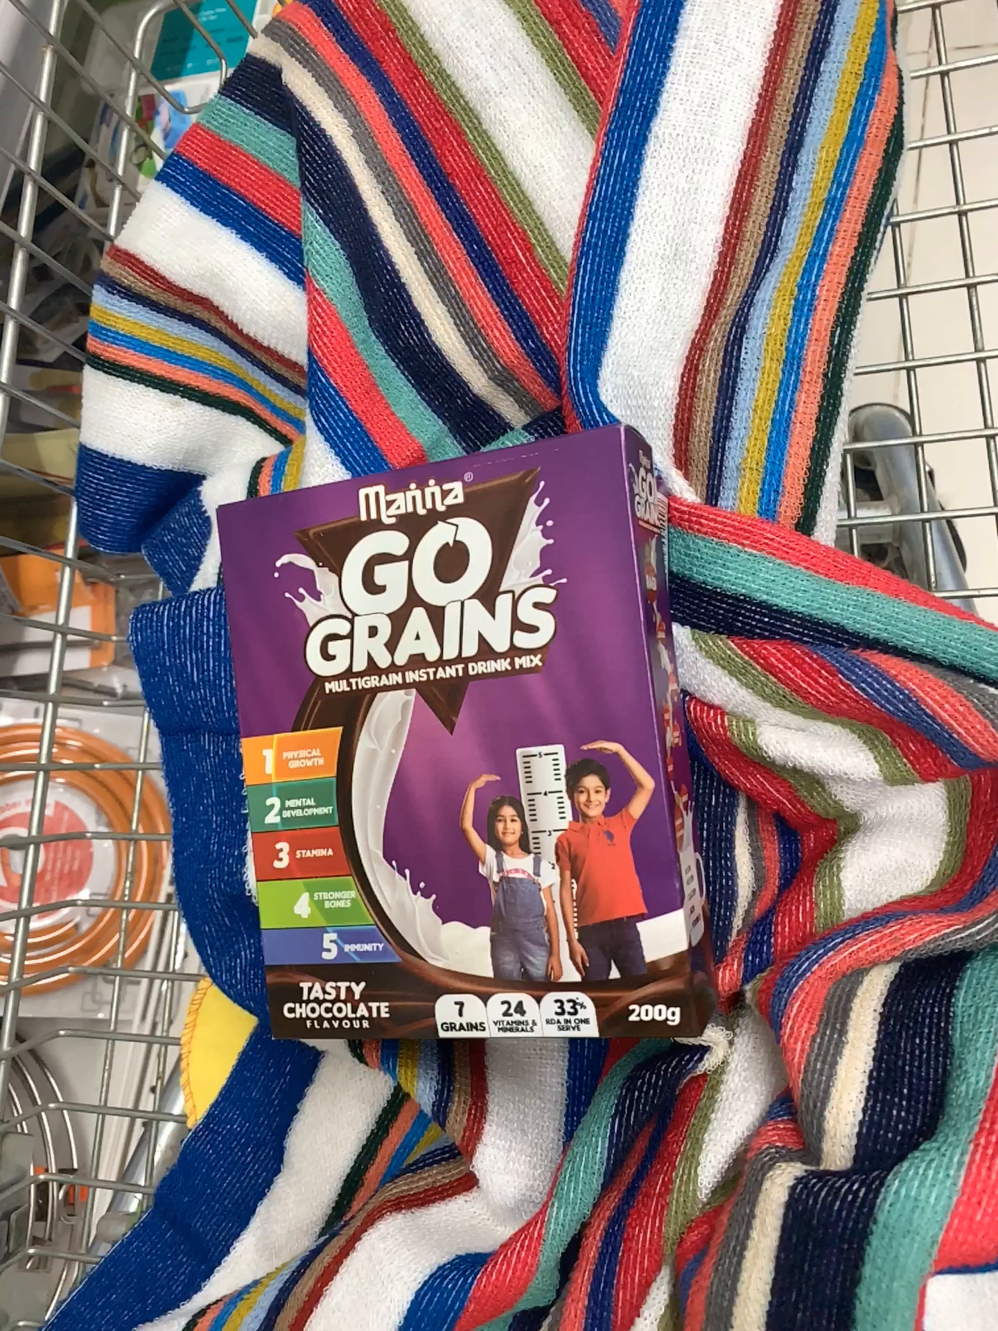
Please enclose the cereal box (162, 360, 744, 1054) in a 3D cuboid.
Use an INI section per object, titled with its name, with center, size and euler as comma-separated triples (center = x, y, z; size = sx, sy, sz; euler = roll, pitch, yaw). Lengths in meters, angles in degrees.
[cereal box]
center = -0.013, 0.017, 0.295
size = 0.140, 0.050, 0.170
euler = -7, 90, 18
